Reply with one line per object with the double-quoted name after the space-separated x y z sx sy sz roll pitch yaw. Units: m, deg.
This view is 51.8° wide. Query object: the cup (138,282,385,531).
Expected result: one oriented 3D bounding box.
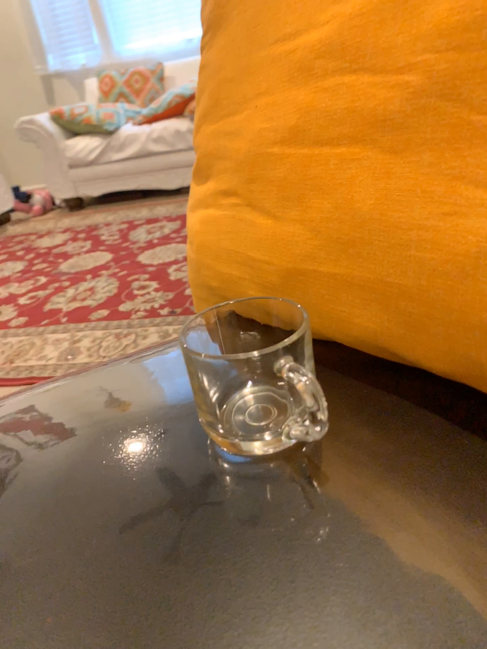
0.006 0.030 0.248 0.070 0.060 0.101 -23 29 -24 "cup"
